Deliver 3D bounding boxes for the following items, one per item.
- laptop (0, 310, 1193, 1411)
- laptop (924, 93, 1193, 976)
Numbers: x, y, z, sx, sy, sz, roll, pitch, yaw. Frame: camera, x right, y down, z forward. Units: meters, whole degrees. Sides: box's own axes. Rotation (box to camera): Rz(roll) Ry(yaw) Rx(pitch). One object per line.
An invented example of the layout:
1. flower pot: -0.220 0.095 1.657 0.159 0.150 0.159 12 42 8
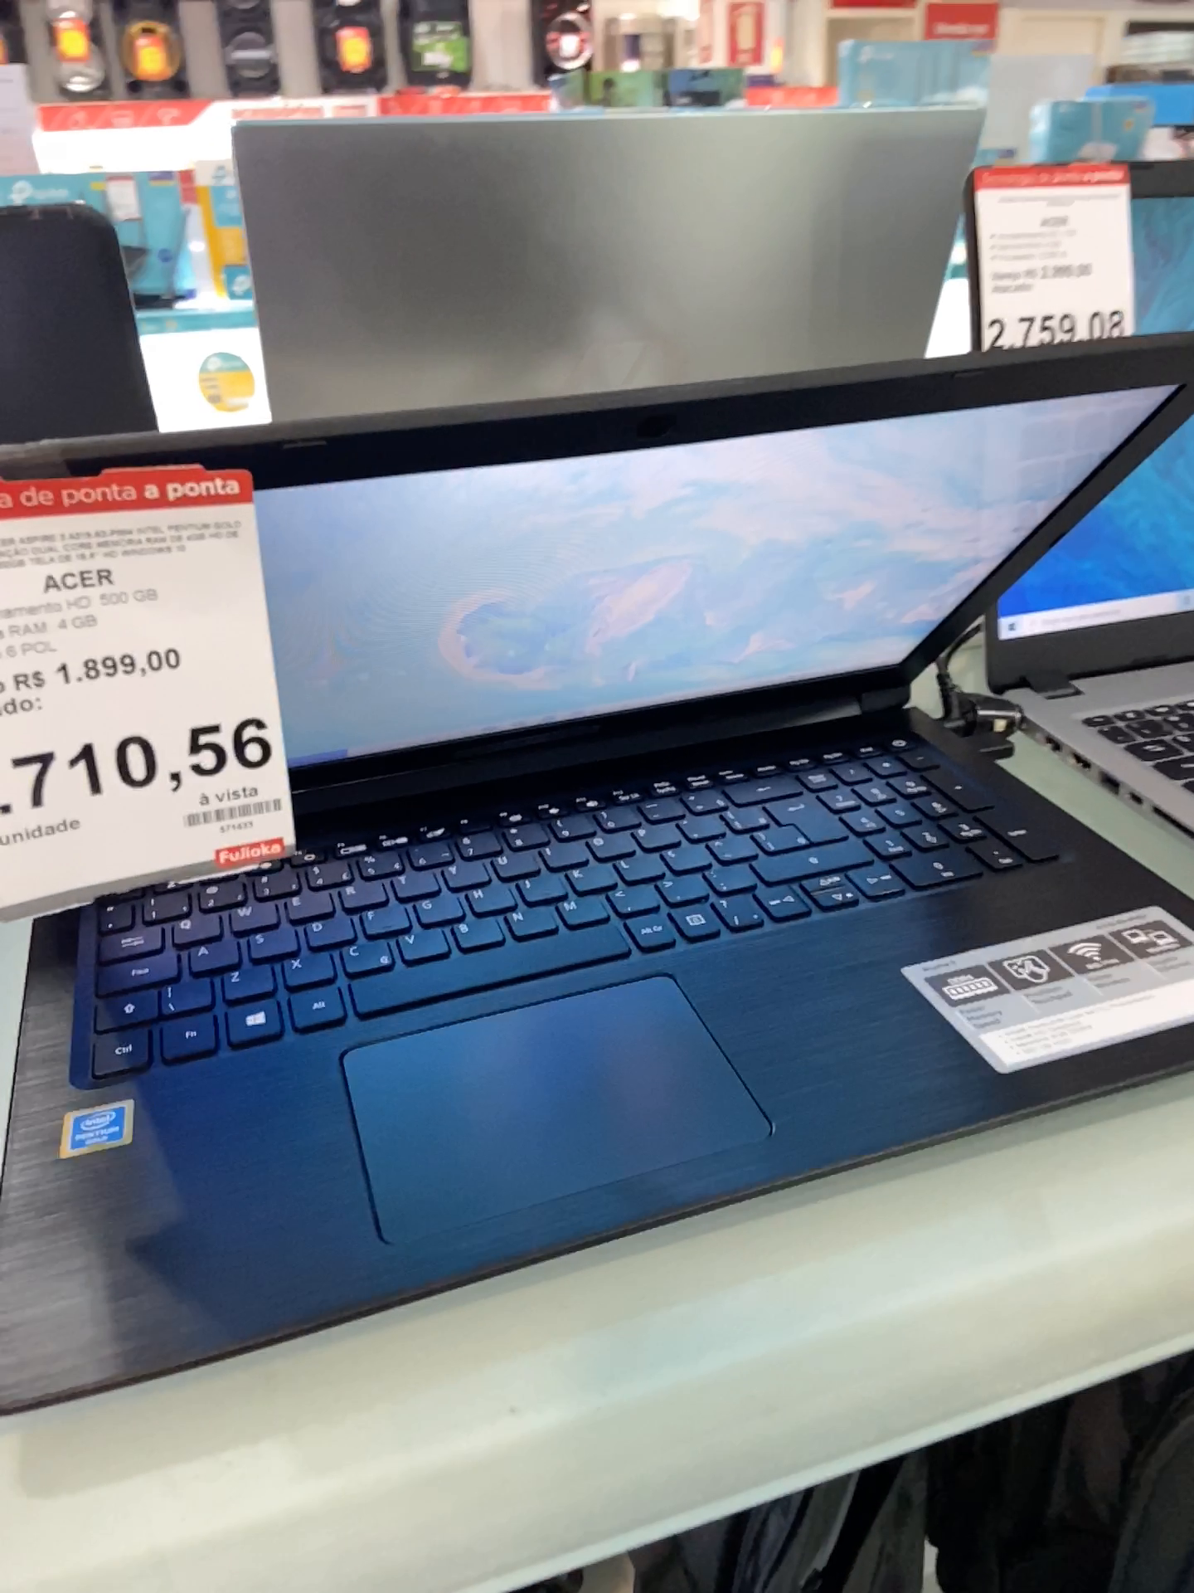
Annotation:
1. laptop: 0.003 -0.030 0.376 0.375 0.169 0.231 -11 30 -16
2. laptop: 0.384 -0.144 0.505 0.362 0.227 0.314 -10 28 -14
